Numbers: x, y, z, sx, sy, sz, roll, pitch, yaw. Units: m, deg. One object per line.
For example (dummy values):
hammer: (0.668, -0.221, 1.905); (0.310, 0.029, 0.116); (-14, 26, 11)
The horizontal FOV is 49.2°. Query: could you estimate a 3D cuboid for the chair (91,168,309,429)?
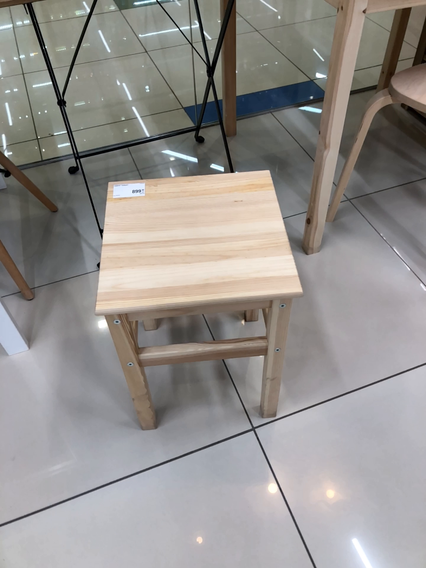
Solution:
chair: (-0.024, 0.042, 0.952); (0.326, 0.407, 0.322); (-5, 49, -2)
